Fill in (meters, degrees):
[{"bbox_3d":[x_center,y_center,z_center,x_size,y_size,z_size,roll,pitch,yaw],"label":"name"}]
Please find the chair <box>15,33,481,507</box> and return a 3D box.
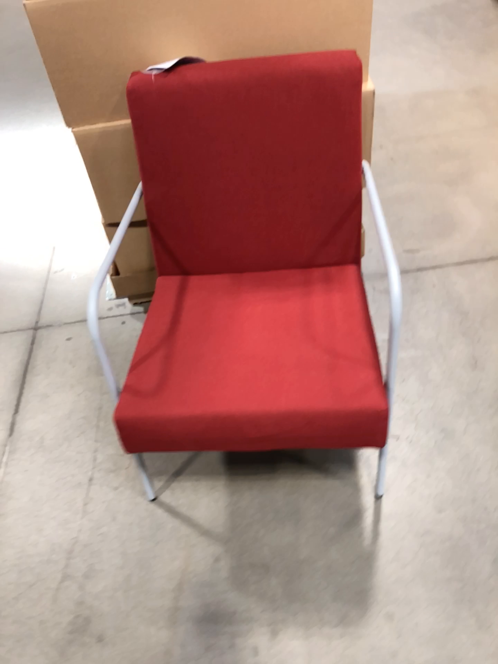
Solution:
[{"bbox_3d":[0.033,-0.125,1.254,0.630,0.708,0.762,-3,48,6],"label":"chair"}]
